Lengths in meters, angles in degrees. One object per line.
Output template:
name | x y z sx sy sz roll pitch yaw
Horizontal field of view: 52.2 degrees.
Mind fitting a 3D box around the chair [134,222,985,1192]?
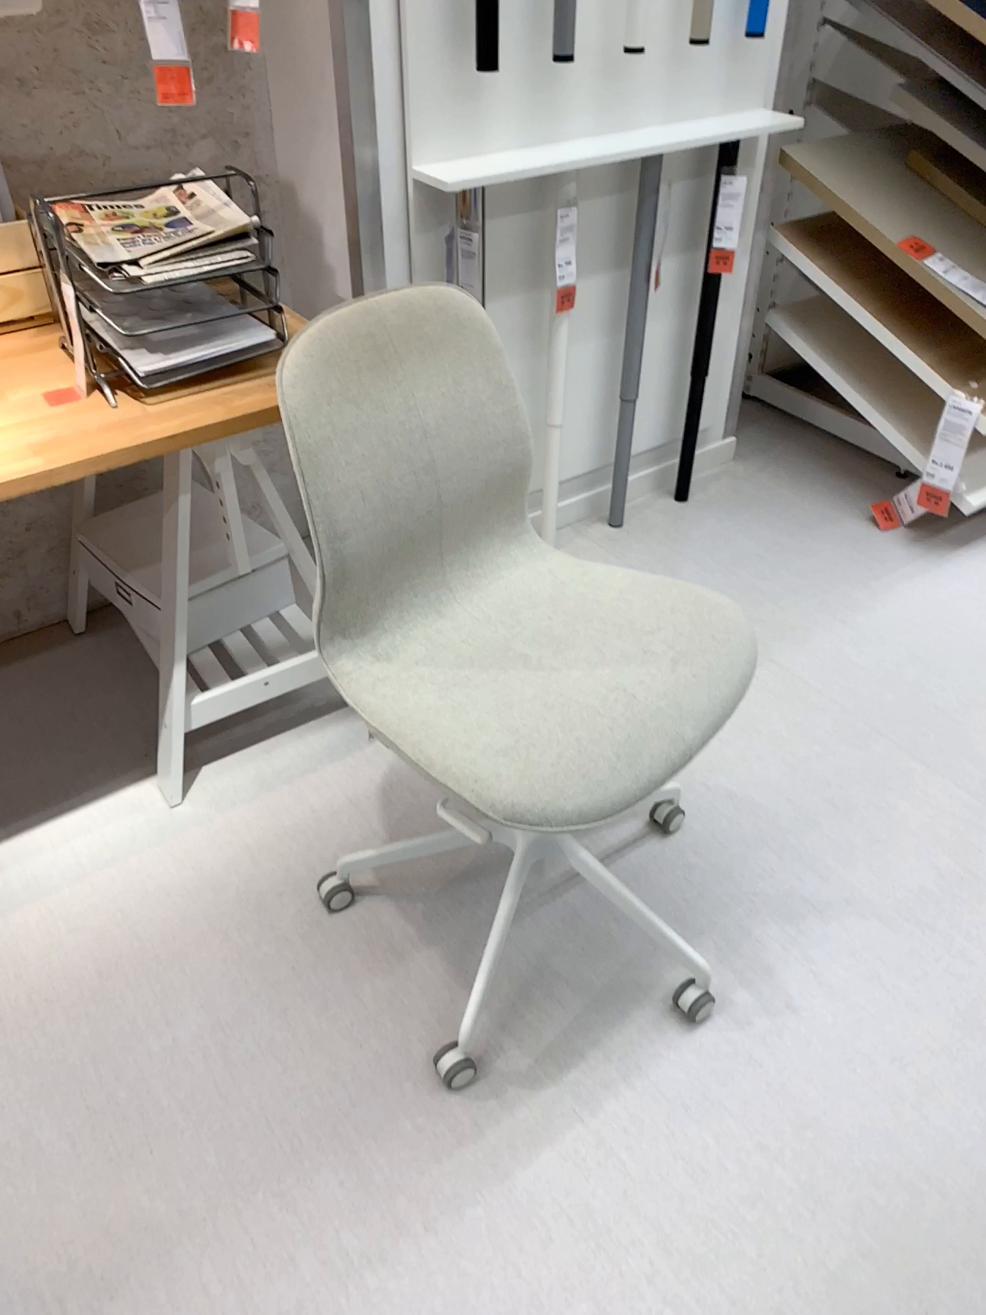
chair | 0.083 0.017 1.319 0.661 0.866 0.662 -29 47 -32
